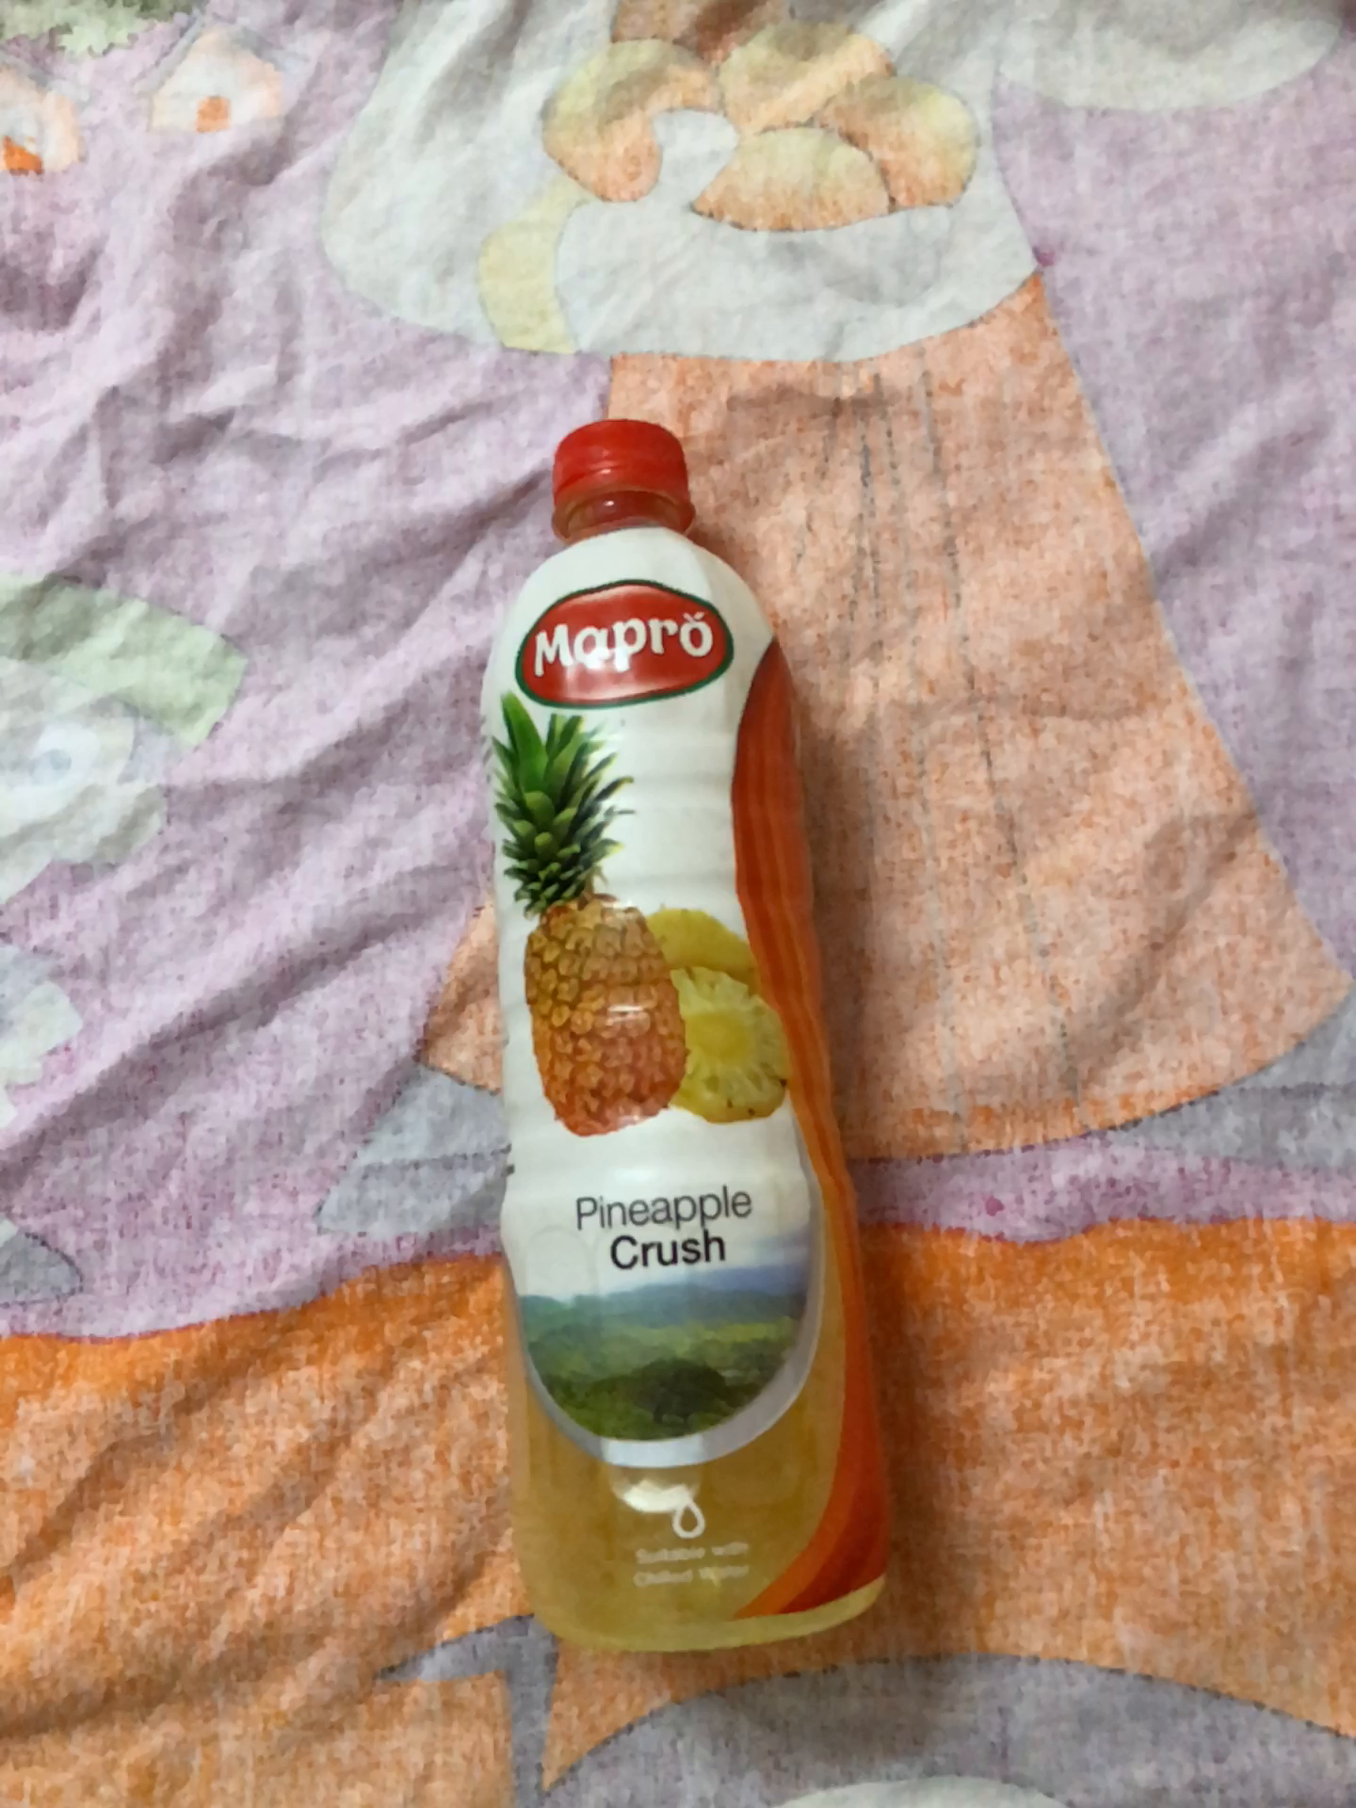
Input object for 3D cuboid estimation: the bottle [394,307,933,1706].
[{"bbox_3d":[-0.005,0.014,0.302,0.080,0.060,0.250,-5,79,3],"label":"bottle"}]
